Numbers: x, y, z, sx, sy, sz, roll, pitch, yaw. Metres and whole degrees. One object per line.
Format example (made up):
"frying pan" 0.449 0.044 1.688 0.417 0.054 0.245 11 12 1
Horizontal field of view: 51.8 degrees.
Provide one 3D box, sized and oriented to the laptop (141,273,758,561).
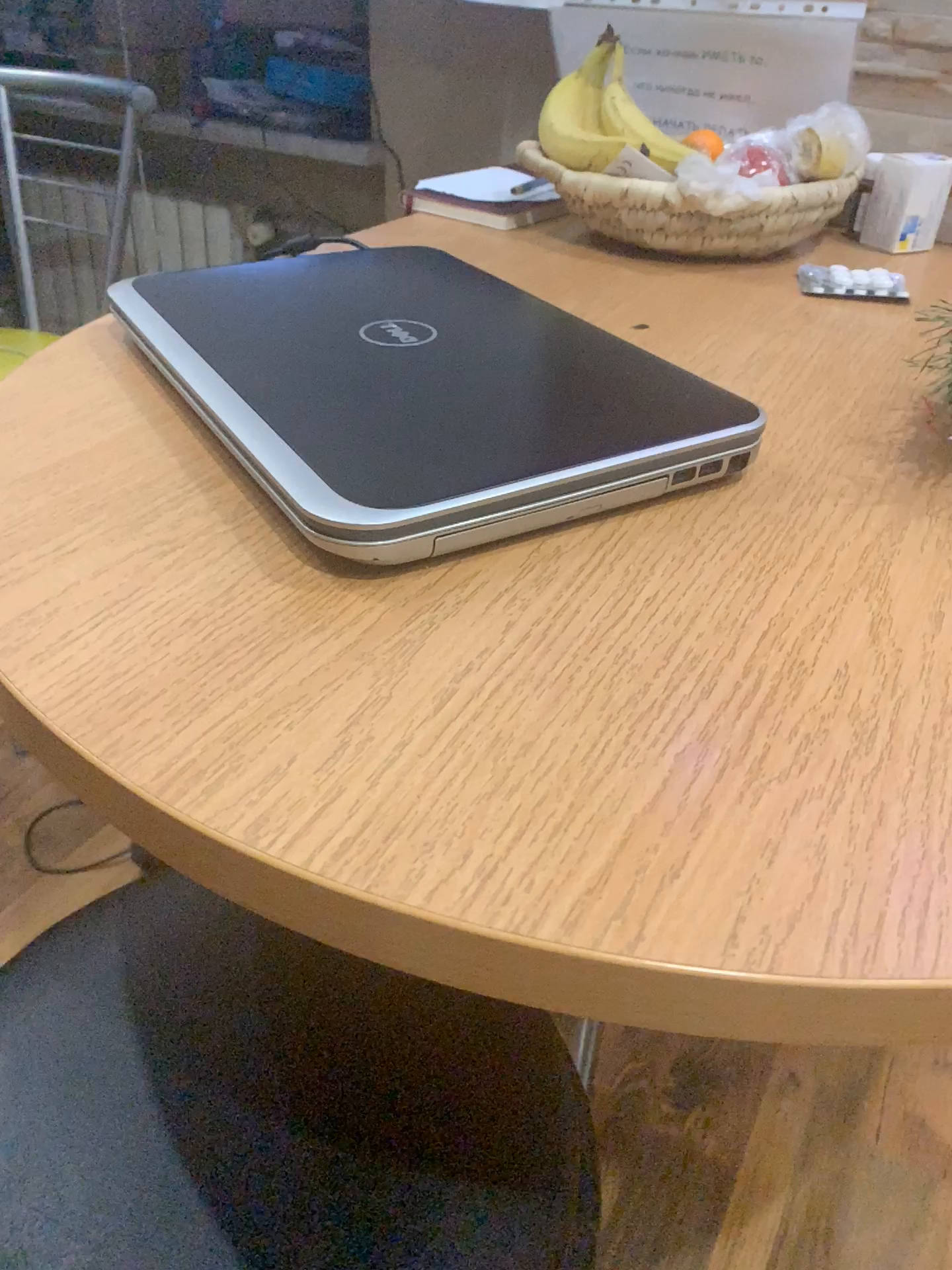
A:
"laptop" -0.042 -0.151 0.566 0.225 0.004 0.351 -17 38 -22
